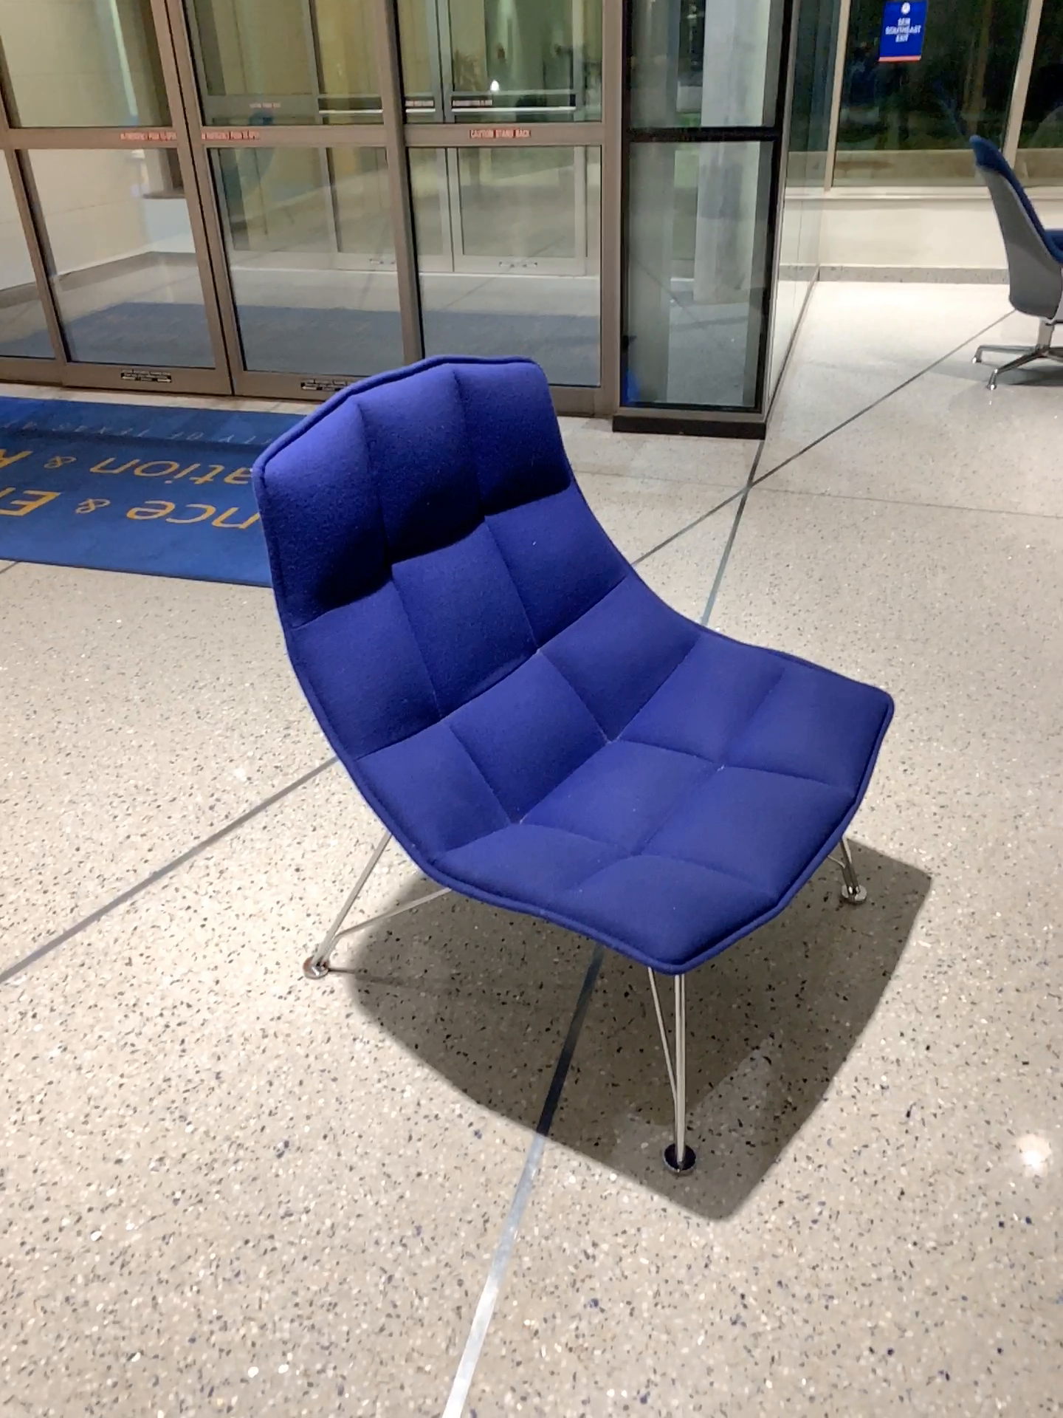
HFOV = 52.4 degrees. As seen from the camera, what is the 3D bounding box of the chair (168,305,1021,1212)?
[{"bbox_3d":[0.132,-0.037,1.664,0.796,0.893,0.859,19,37,31],"label":"chair"}]
